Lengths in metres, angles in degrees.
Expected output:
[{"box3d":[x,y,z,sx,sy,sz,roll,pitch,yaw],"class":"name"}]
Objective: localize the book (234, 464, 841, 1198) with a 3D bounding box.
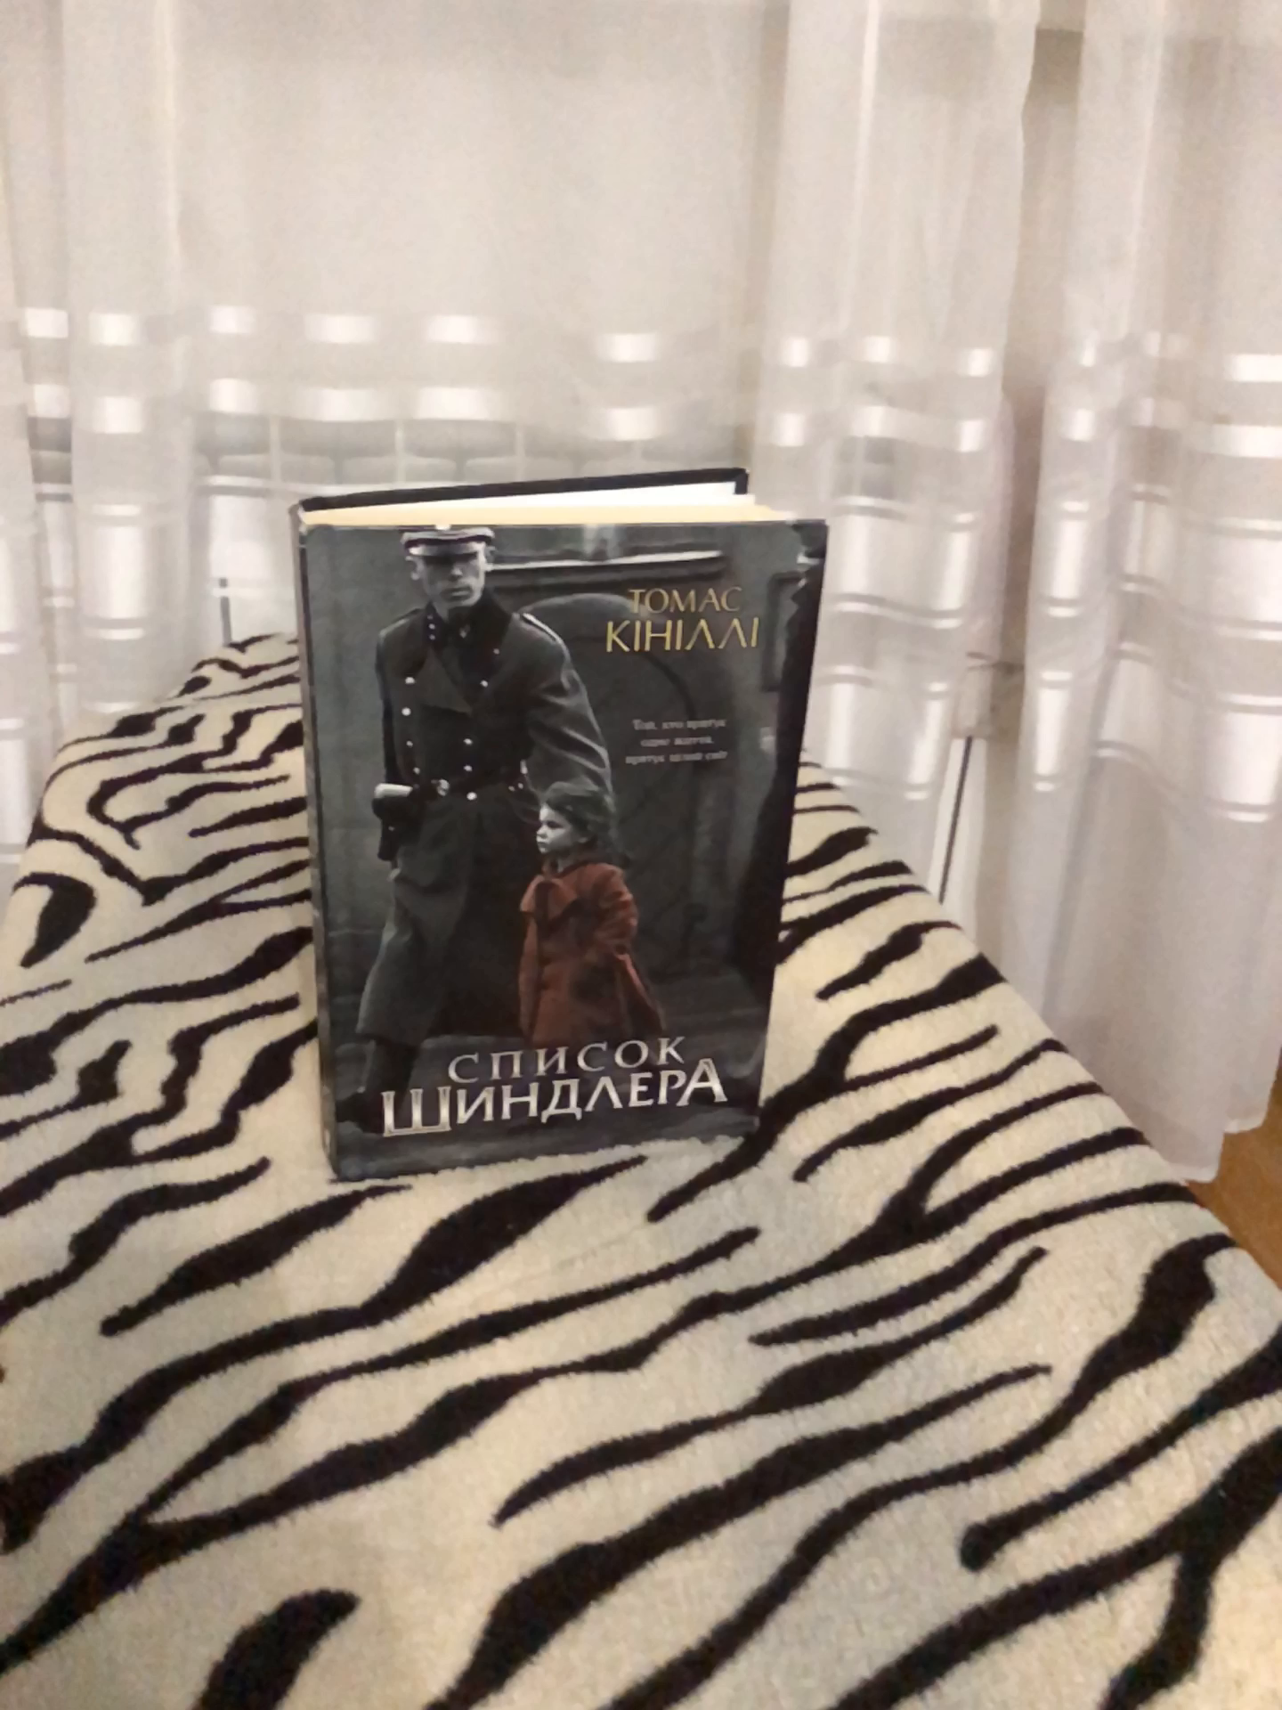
[{"box3d":[-0.032,-0.007,0.403,0.144,0.191,0.057,-6,30,-17],"class":"book"}]
